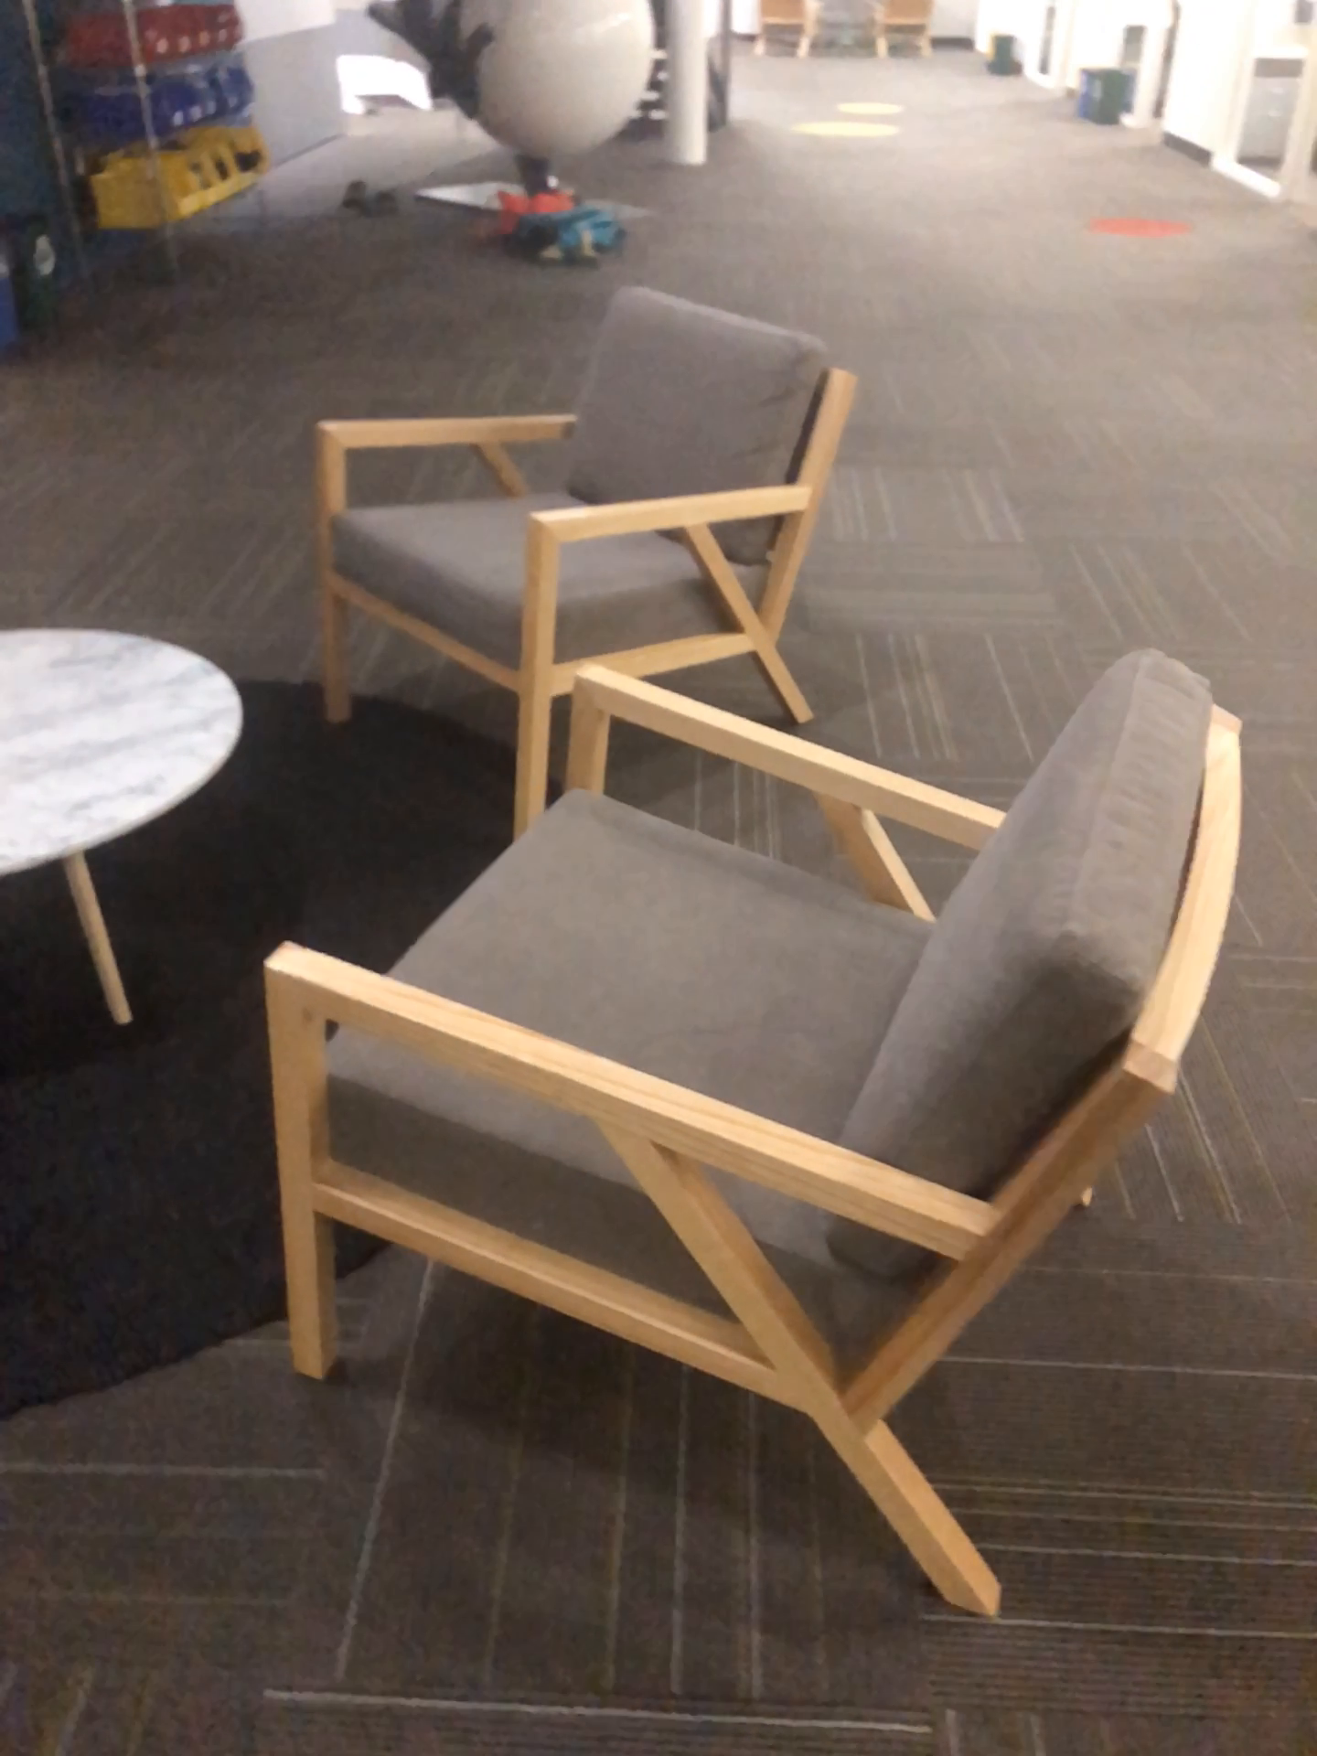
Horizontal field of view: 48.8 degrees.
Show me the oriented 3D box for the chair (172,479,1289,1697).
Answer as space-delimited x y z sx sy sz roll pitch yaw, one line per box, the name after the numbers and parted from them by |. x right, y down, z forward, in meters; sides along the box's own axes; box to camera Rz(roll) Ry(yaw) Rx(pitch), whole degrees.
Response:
0.105 0.143 1.514 0.800 0.773 0.726 16 36 17 | chair

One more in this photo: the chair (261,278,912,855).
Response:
-0.142 -0.640 2.698 0.875 0.754 0.722 -21 38 -38 | chair
